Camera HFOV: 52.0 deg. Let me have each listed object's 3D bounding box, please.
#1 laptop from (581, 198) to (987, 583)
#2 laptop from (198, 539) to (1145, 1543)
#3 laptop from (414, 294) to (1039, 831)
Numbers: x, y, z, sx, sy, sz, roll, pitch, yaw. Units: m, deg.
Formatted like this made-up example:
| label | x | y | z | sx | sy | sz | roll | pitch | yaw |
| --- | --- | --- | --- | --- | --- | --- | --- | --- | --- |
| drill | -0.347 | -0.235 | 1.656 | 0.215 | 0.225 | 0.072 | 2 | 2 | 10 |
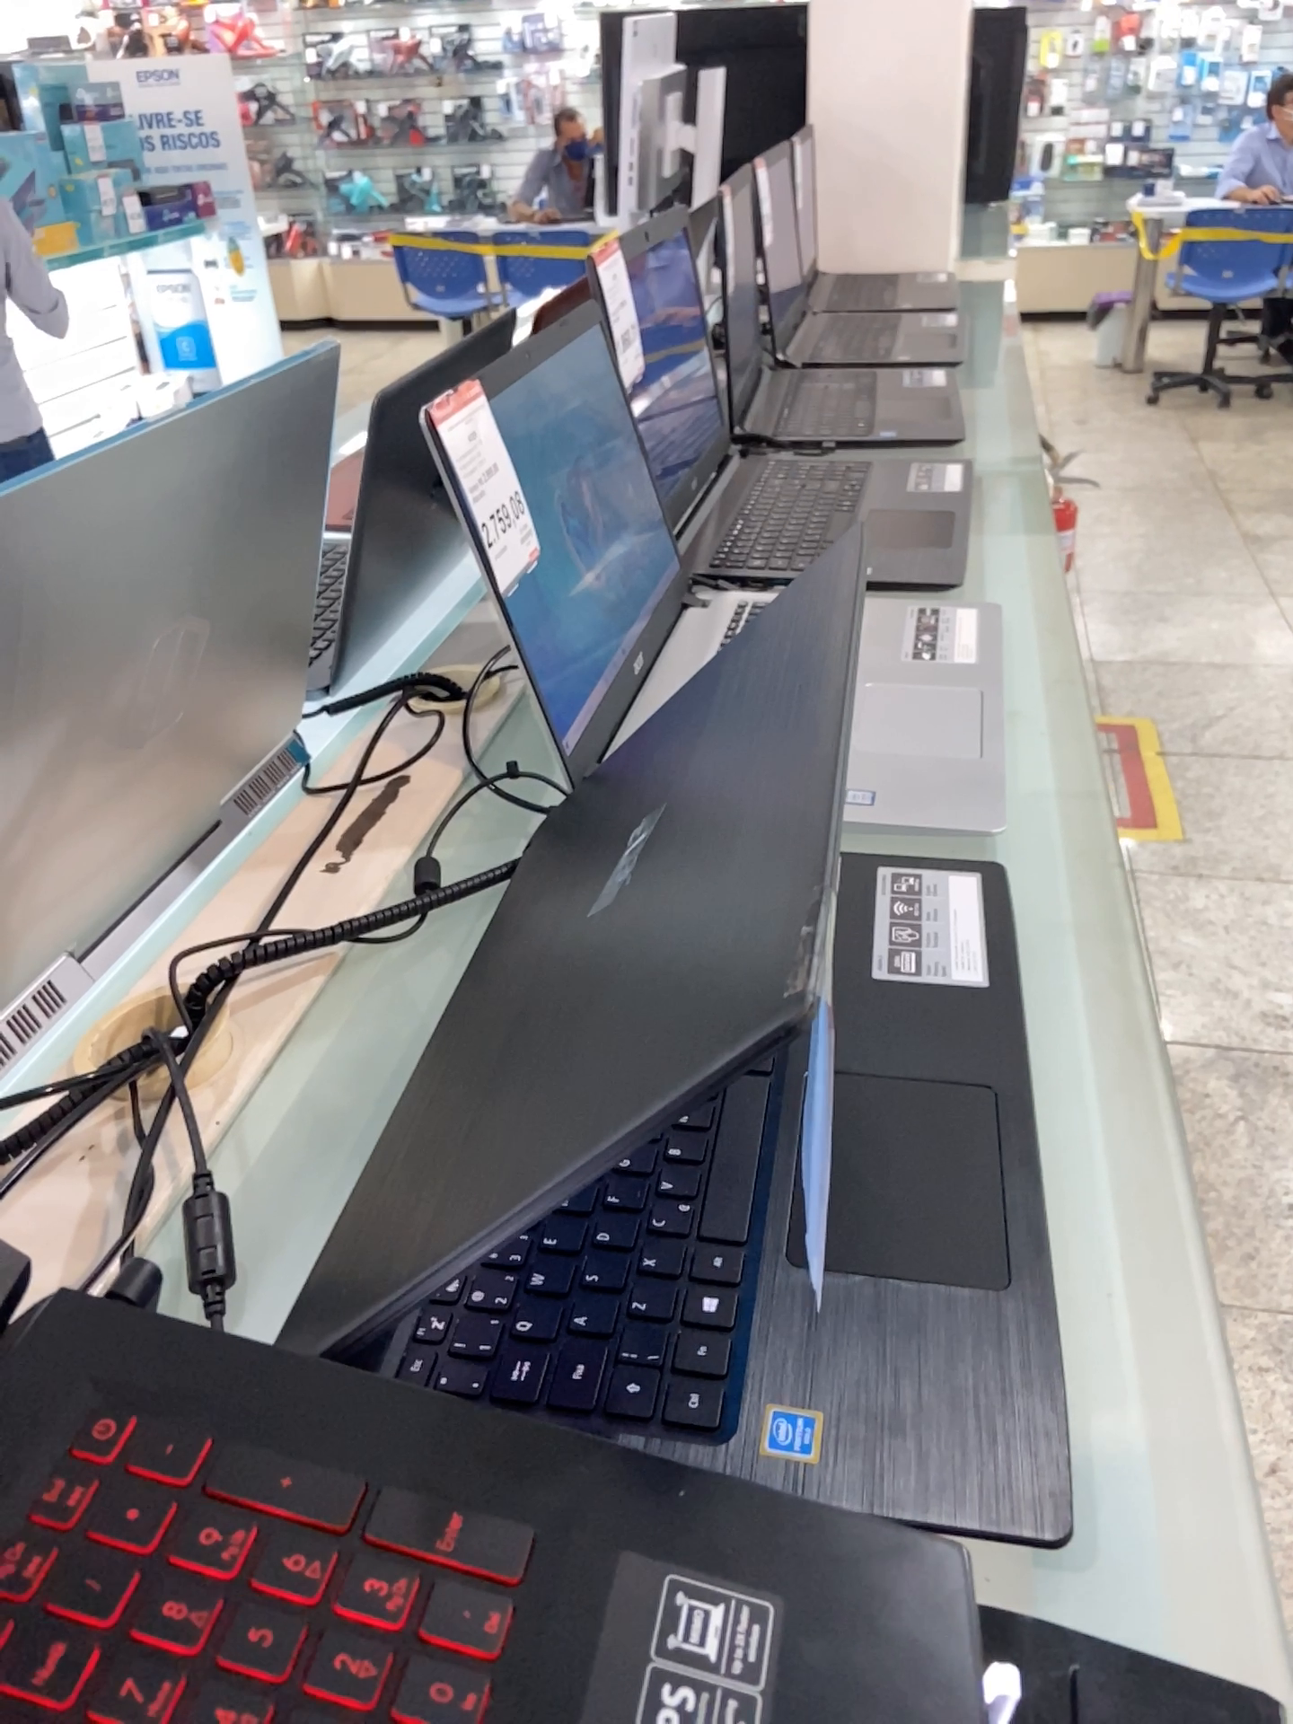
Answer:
| label | x | y | z | sx | sy | sz | roll | pitch | yaw |
| --- | --- | --- | --- | --- | --- | --- | --- | --- | --- |
| laptop | 0.148 | -0.450 | 1.224 | 0.299 | 0.249 | 0.387 | 5 | 32 | 12 |
| laptop | 0.036 | 0.018 | 0.519 | 0.230 | 0.169 | 0.377 | 4 | 31 | 9 |
| laptop | 0.077 | -0.219 | 0.864 | 0.313 | 0.227 | 0.364 | 4 | 31 | 12 |
